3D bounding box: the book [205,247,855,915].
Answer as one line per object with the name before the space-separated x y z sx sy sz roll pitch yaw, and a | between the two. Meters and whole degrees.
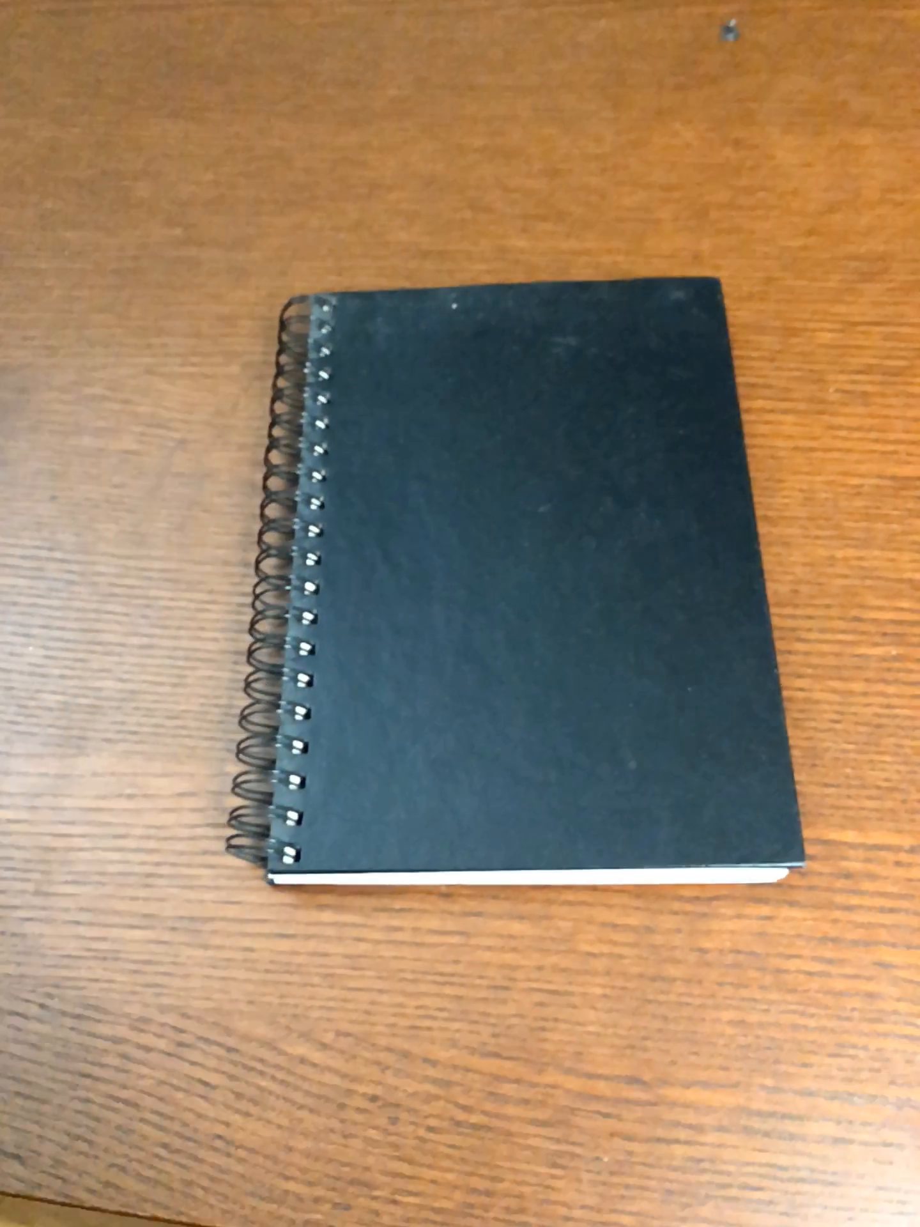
book | 0.019 -0.025 0.388 0.200 0.030 0.261 -3 63 4
